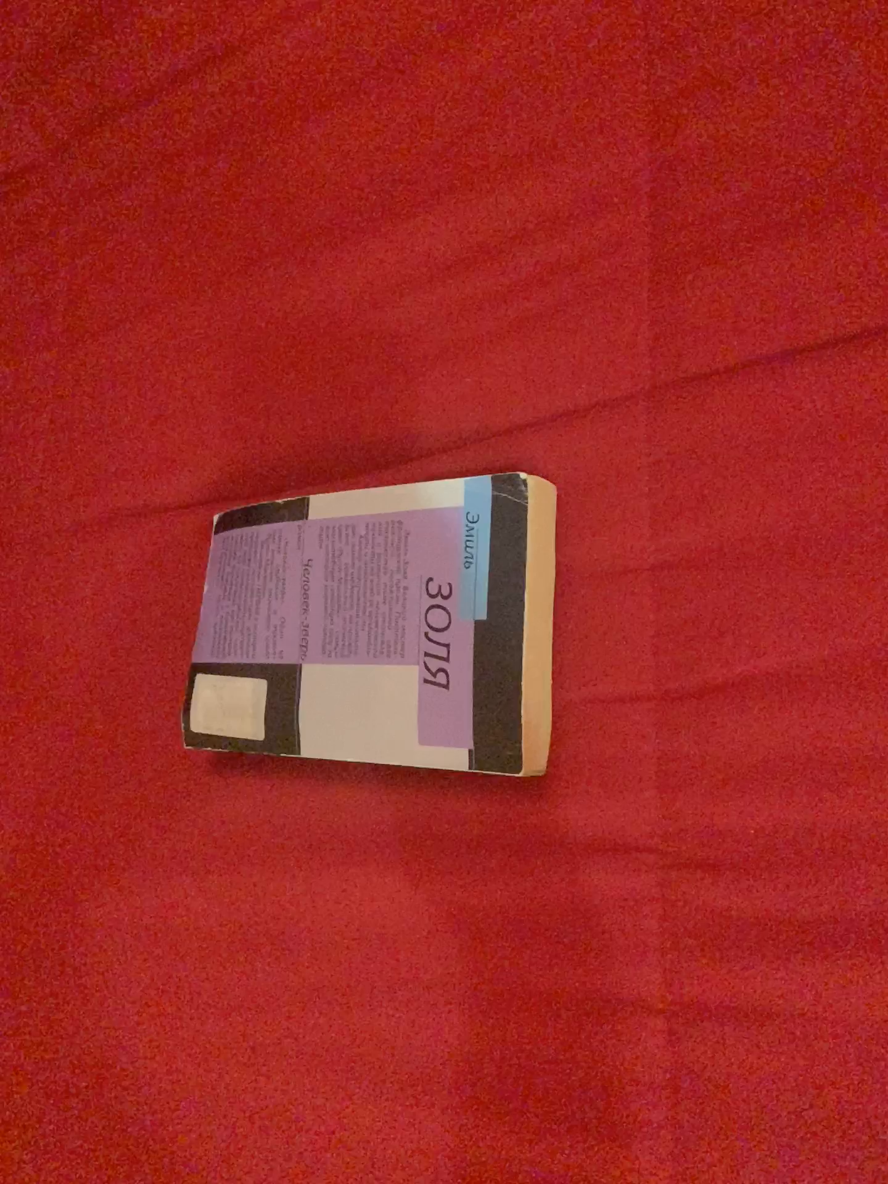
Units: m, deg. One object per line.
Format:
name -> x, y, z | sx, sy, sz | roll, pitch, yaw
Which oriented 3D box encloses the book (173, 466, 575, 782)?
book -> -0.034, 0.015, 0.372 | 0.171, 0.033, 0.109 | -2, 80, 33
